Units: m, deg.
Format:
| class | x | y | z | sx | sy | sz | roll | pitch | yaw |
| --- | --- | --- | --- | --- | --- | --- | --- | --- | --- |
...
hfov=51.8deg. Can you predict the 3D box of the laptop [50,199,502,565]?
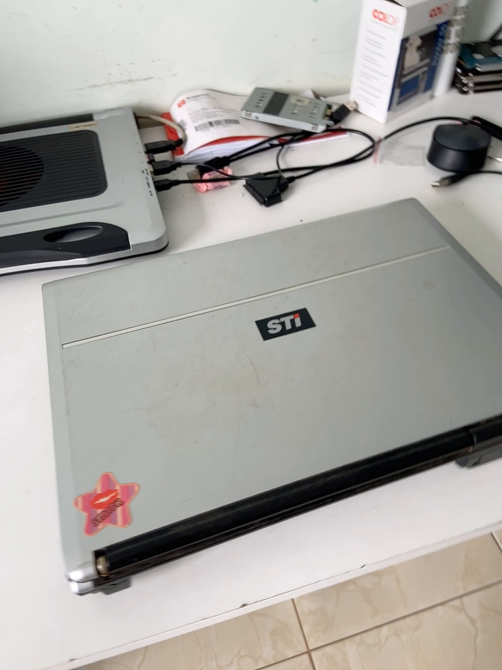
| class | x | y | z | sx | sy | sz | roll | pitch | yaw |
| --- | --- | --- | --- | --- | --- | --- | --- | --- | --- |
| laptop | 0.033 | -0.001 | 0.384 | 0.339 | 0.004 | 0.235 | -15 | 50 | -10 |
